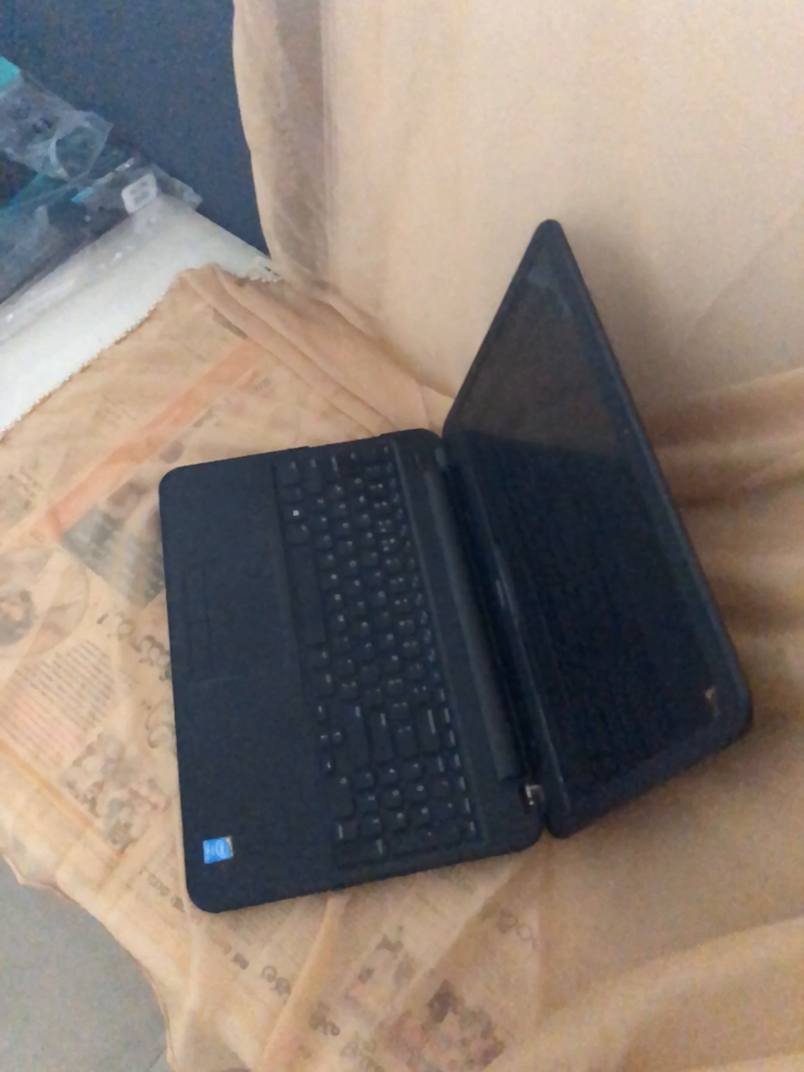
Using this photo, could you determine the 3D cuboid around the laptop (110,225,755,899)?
[{"bbox_3d":[-0.013,0.018,0.602,0.305,0.226,0.349,-9,61,-6],"label":"laptop"}]
